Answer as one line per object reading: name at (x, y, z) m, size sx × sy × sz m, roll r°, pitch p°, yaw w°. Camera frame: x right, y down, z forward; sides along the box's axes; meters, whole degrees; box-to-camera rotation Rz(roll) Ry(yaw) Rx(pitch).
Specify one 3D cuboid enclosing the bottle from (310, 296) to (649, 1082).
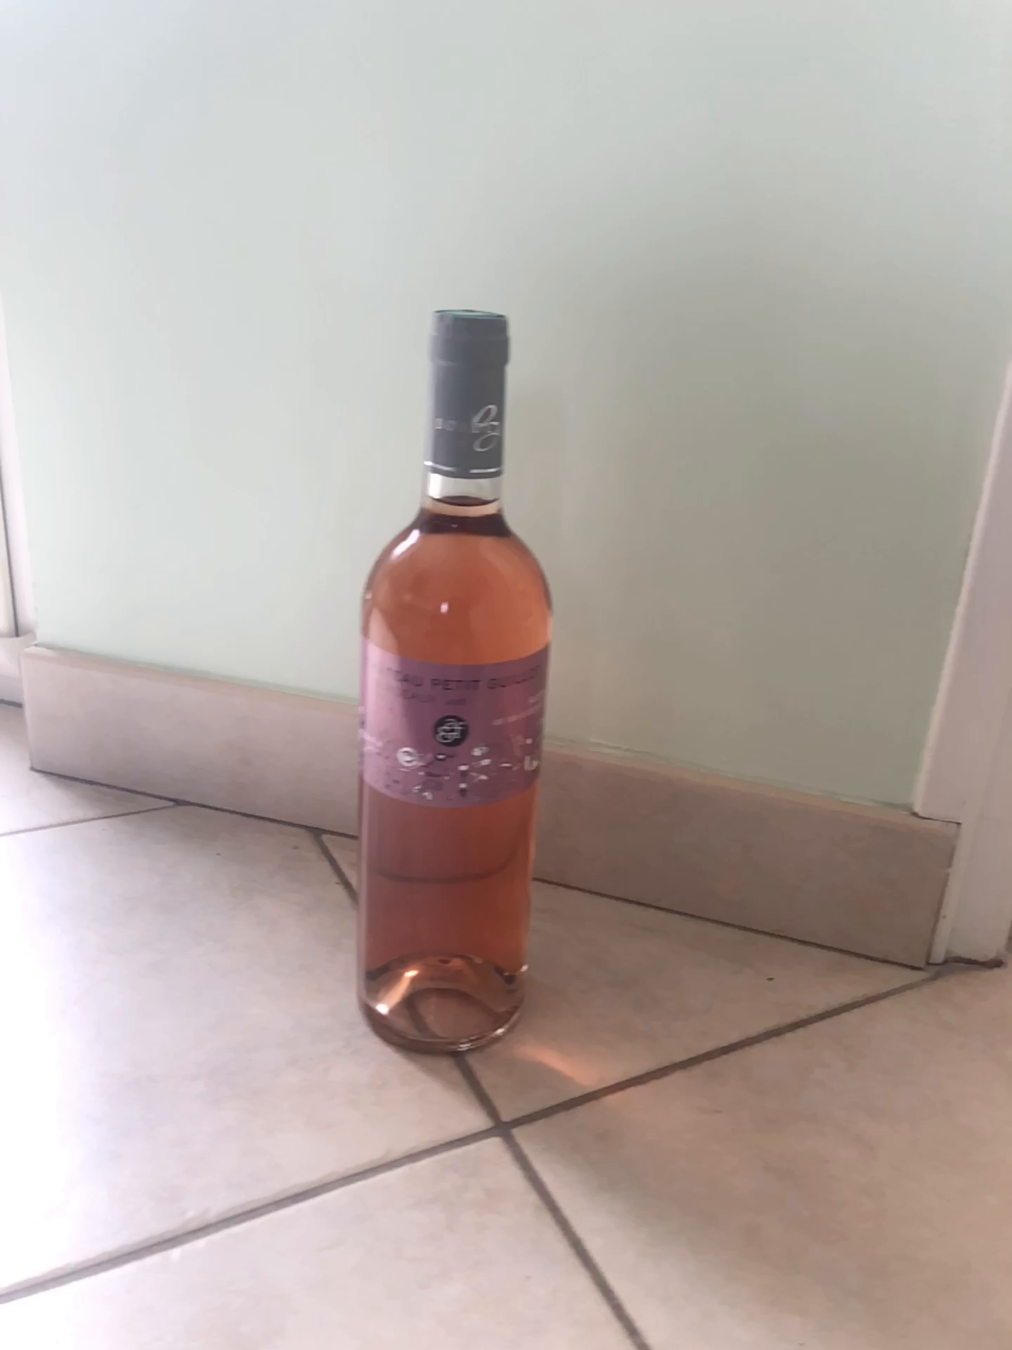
bottle at (-0.021, 0.006, 0.445) m, size 0.090 × 0.289 × 0.090 m, roll 3°, pitch 22°, yaw -1°
